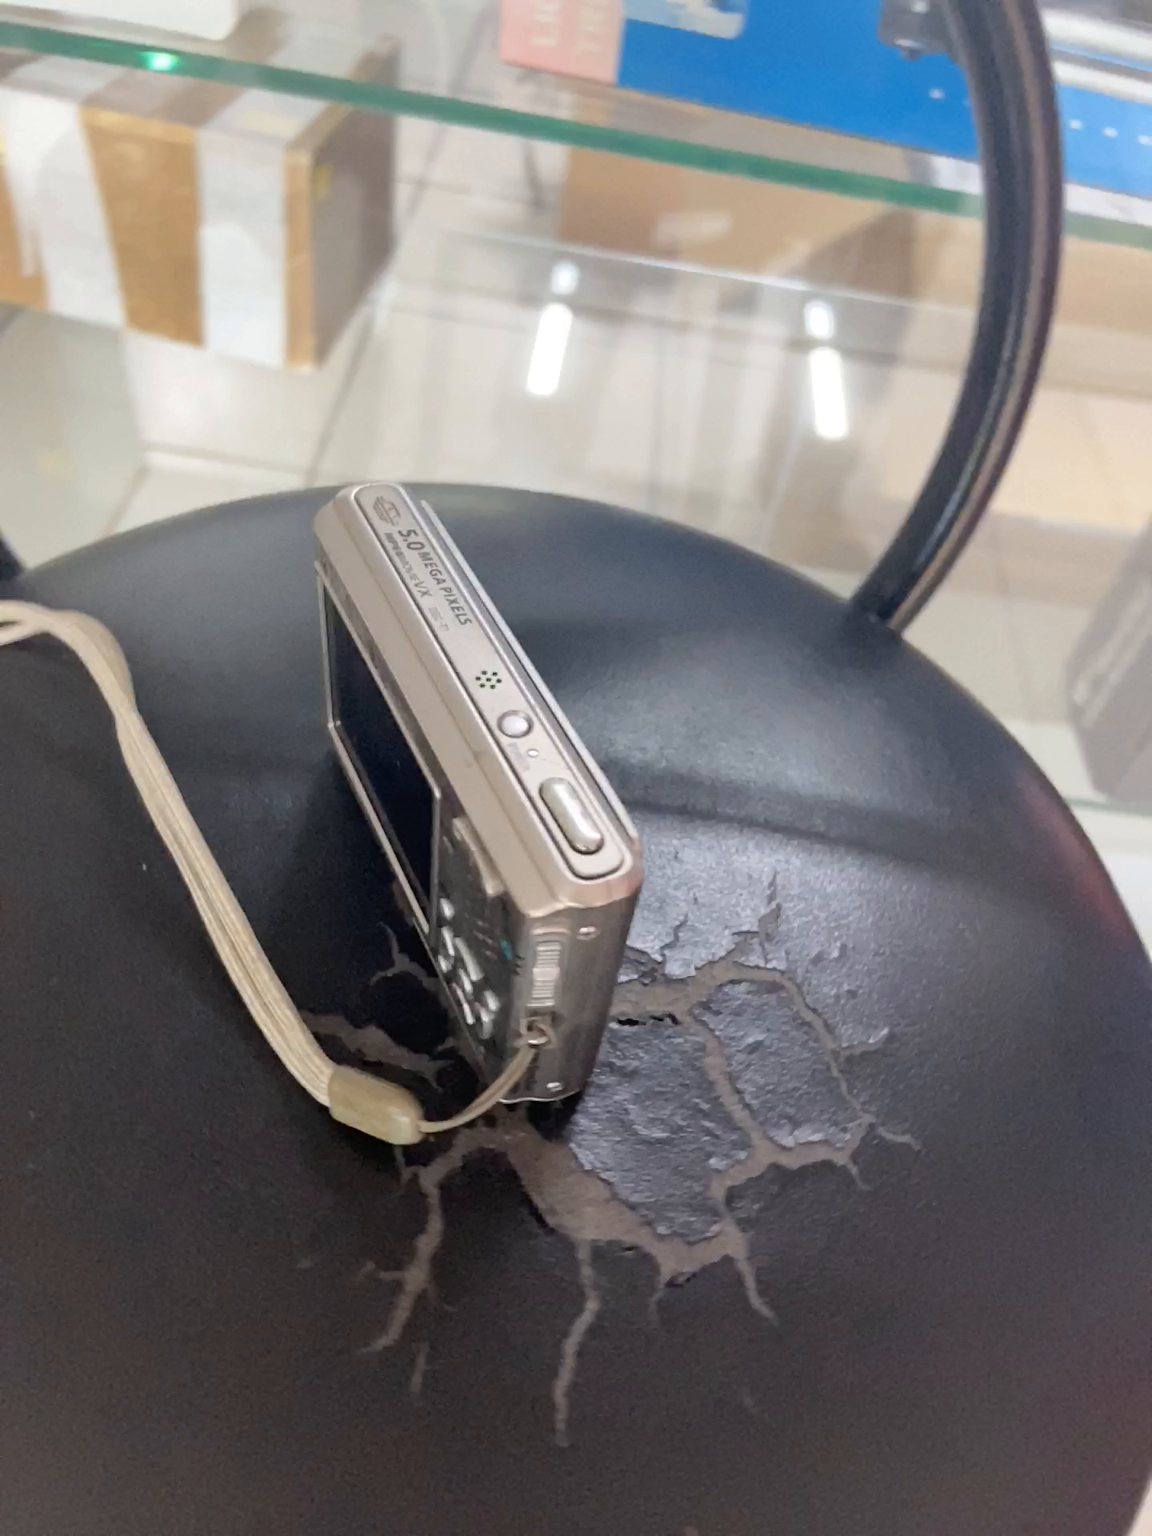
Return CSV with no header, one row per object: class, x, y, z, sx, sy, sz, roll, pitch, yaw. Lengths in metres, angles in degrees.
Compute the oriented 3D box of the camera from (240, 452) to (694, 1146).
camera,-0.024,0.002,0.206,0.030,0.060,0.100,-17,54,-23
